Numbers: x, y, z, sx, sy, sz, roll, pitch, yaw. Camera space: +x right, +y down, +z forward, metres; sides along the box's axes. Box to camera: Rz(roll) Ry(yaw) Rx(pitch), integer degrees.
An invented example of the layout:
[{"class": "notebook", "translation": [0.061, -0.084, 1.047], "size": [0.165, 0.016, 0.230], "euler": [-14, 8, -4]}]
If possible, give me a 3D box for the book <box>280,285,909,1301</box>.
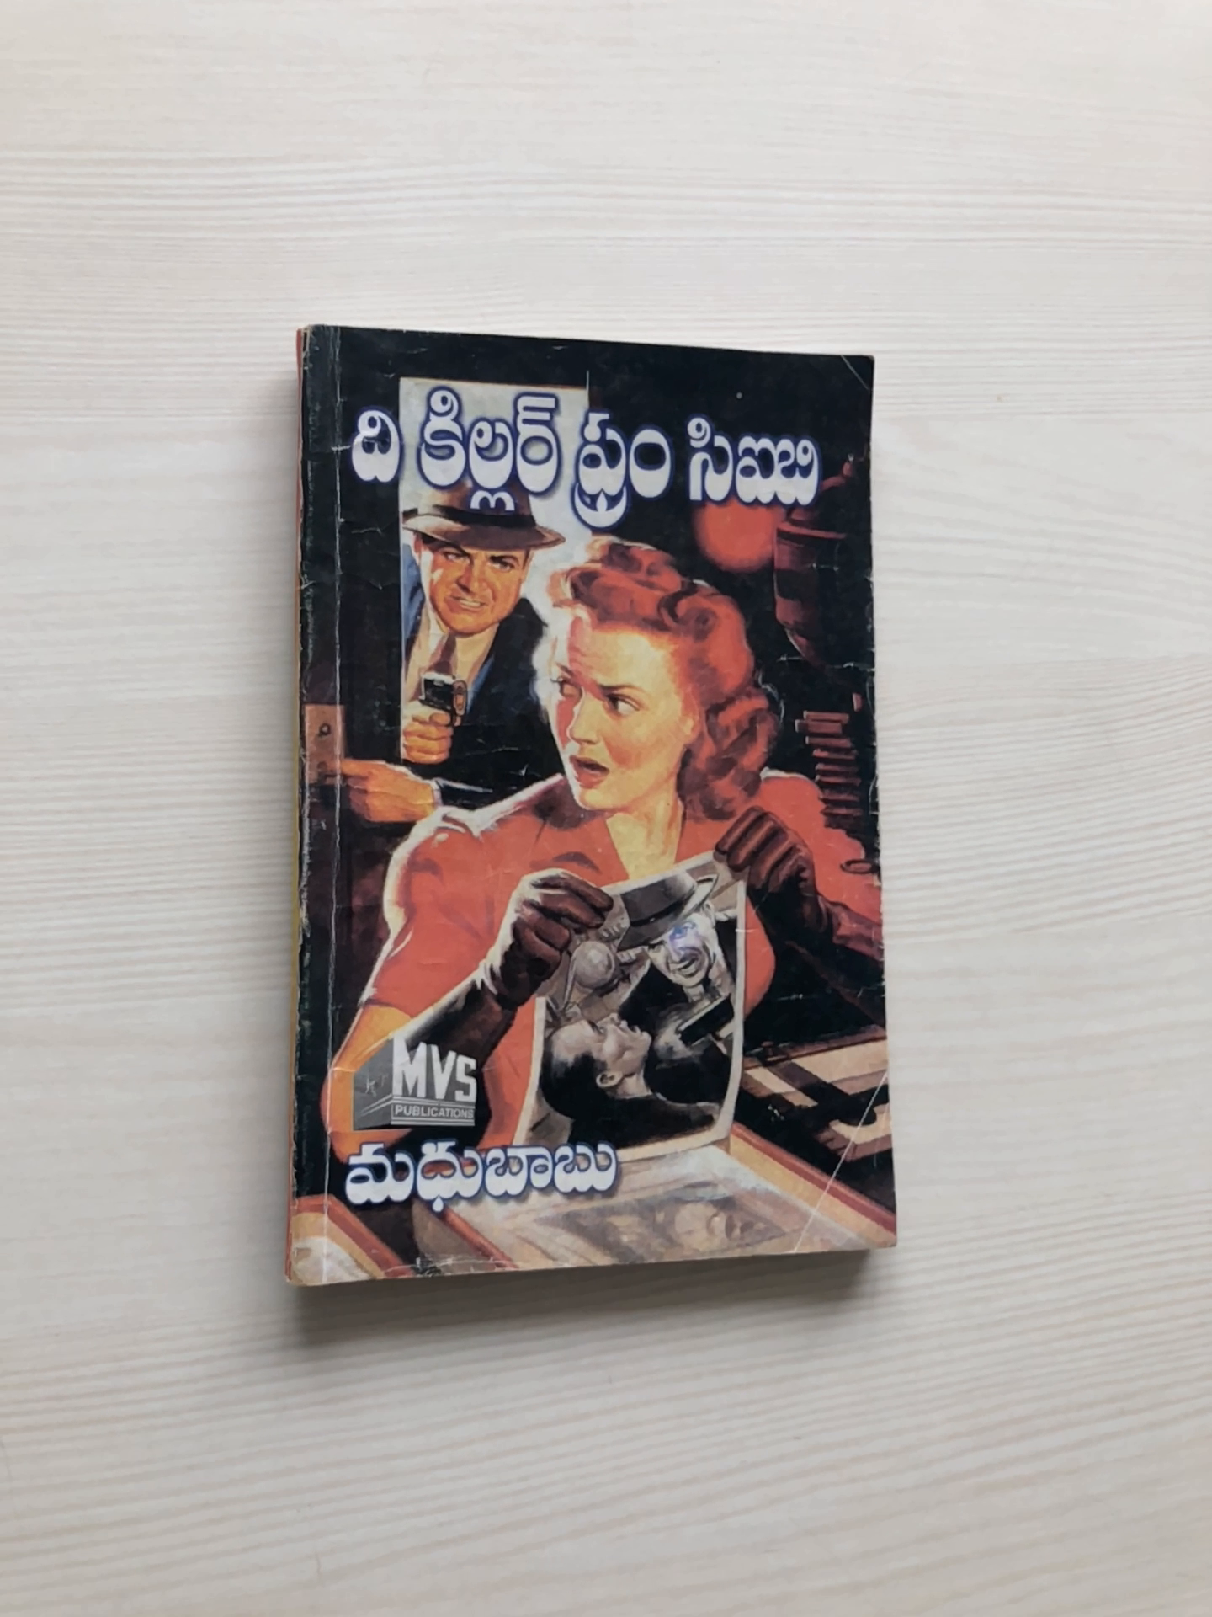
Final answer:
[{"class": "book", "translation": [-0.002, -0.005, 0.227], "size": [0.100, 0.012, 0.160], "euler": [0, 83, -11]}]
